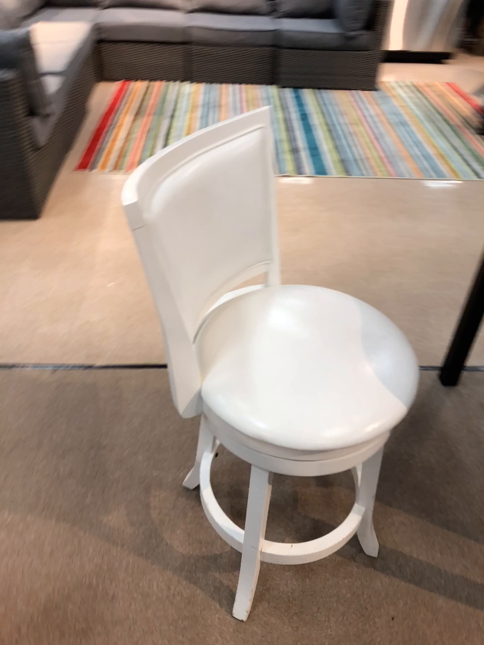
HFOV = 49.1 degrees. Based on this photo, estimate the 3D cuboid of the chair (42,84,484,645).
[{"bbox_3d":[0.118,0.121,1.107,0.571,0.944,0.623,22,43,22],"label":"chair"}]
